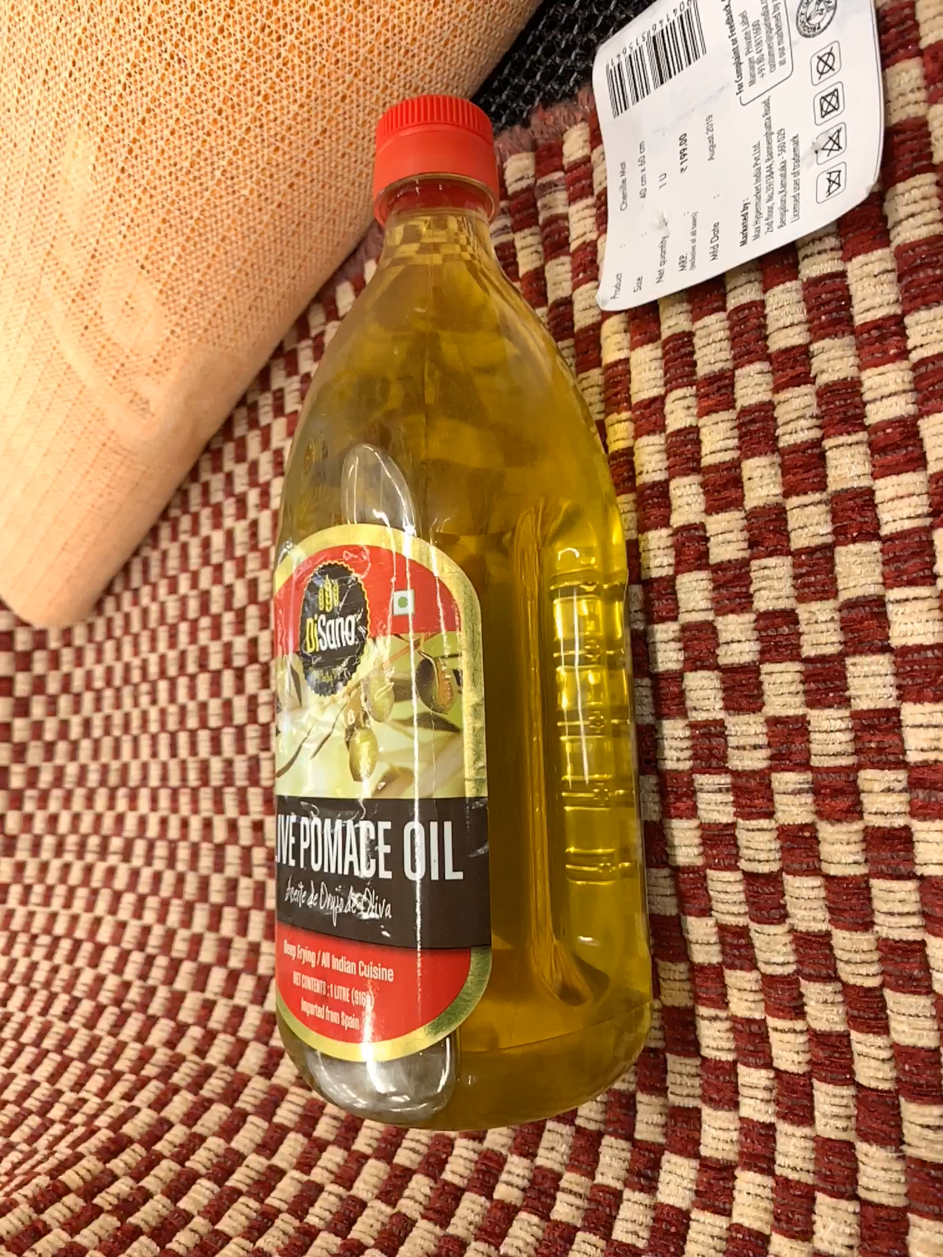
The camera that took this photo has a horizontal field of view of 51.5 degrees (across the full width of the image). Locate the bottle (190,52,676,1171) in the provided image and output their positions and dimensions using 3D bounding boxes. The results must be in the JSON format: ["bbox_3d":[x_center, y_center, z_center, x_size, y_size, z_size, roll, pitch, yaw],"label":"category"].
[{"bbox_3d":[-0.009,-0.003,0.238,0.080,0.080,0.210,-6,82,42],"label":"bottle"}]
